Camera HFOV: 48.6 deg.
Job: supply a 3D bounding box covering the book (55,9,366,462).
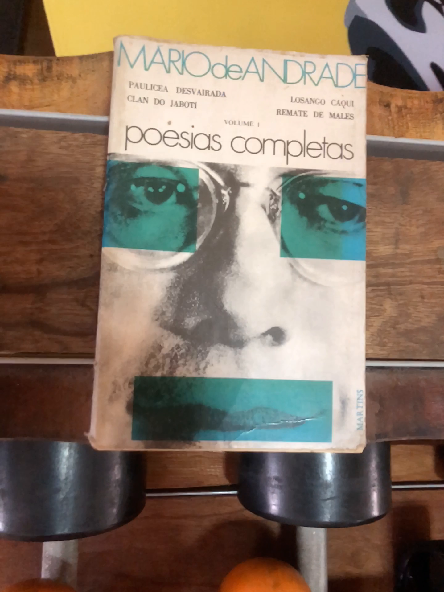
[{"bbox_3d":[-0.001,-0.028,0.243,0.140,0.020,0.209,3,85,-7],"label":"book"}]
